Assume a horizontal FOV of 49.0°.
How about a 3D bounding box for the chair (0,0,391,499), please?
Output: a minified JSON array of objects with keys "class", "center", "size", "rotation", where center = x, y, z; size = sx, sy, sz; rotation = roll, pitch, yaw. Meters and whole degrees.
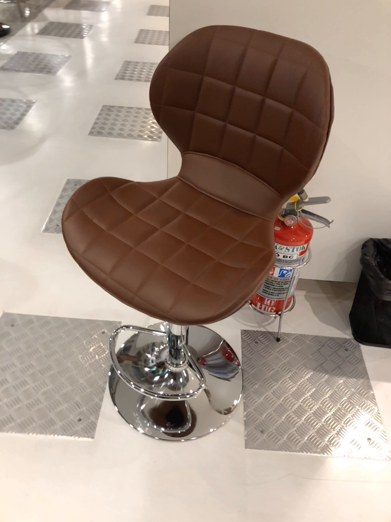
[{"class":"chair","center":[-0.042,-0.003,1.011],"size":[0.542,0.923,0.492],"rotation":[34,50,28]}]
